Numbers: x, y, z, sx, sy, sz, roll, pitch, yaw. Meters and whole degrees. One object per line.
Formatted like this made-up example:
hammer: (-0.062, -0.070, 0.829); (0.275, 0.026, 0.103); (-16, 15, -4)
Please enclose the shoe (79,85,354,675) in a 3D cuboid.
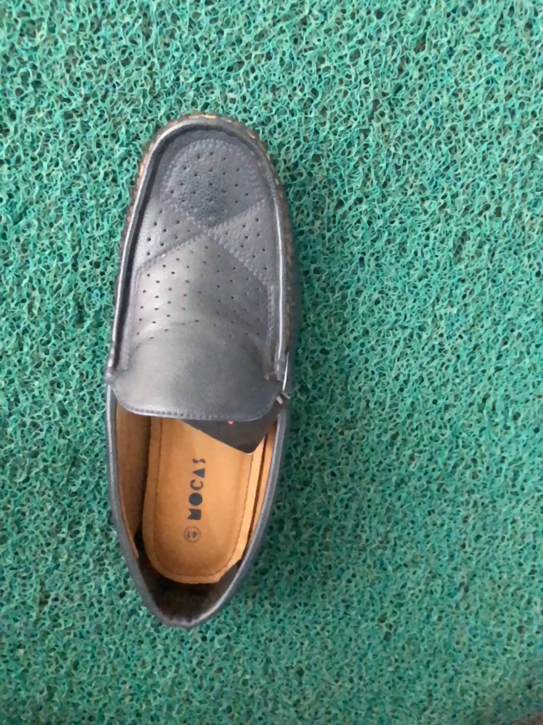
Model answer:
shoe: (-0.035, 0.018, 0.319); (0.100, 0.070, 0.280); (6, 103, -6)
